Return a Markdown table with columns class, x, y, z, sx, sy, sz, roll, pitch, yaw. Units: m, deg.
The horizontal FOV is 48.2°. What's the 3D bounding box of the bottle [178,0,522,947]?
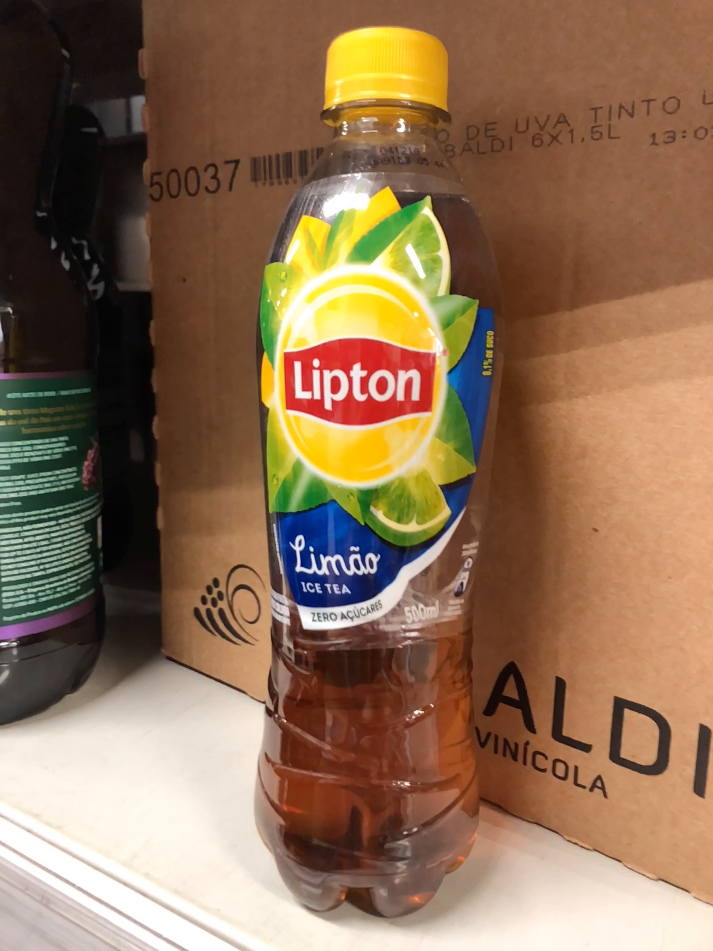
| class | x | y | z | sx | sy | sz | roll | pitch | yaw |
| --- | --- | --- | --- | --- | --- | --- | --- | --- | --- |
| bottle | 0.004 | 0.002 | 0.213 | 0.070 | 0.219 | 0.060 | 3 | 12 | 14 |
